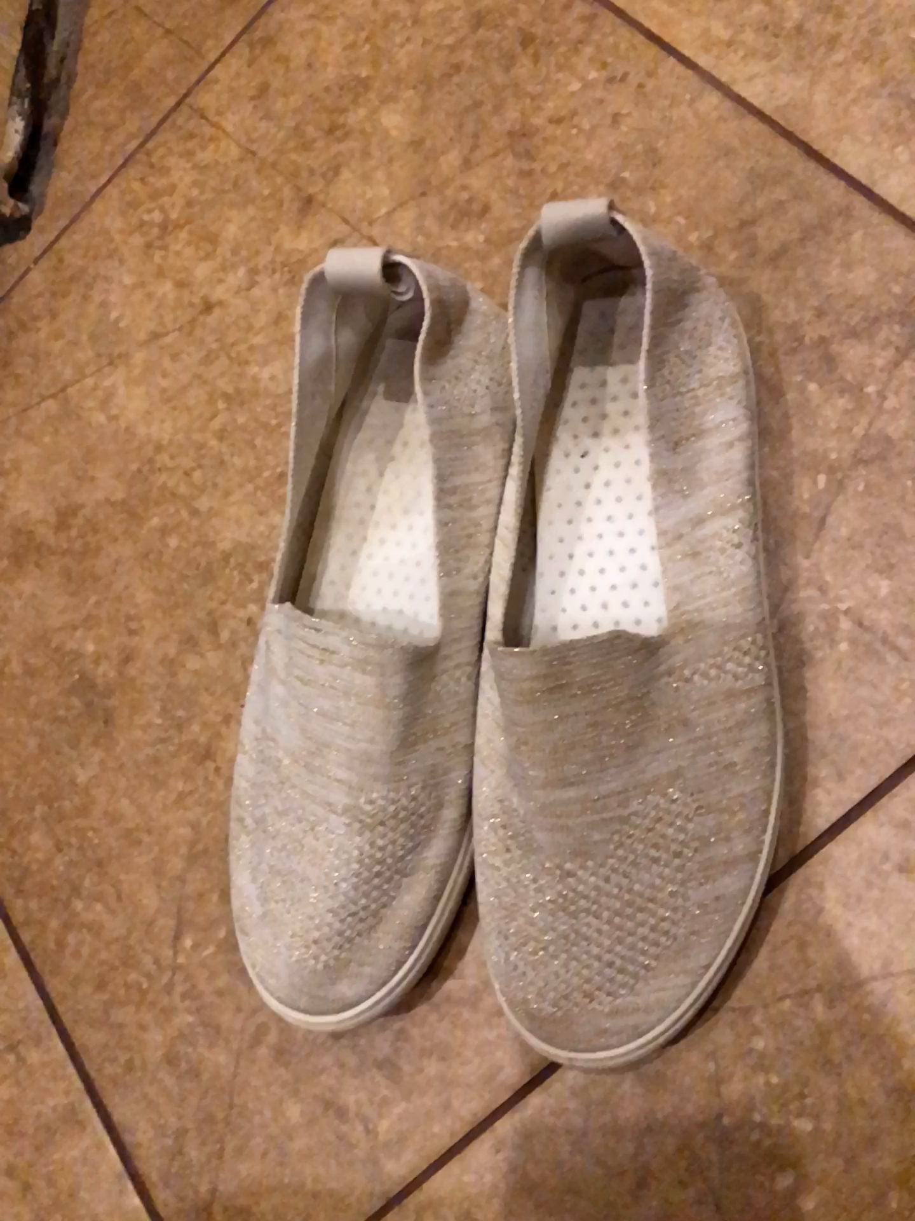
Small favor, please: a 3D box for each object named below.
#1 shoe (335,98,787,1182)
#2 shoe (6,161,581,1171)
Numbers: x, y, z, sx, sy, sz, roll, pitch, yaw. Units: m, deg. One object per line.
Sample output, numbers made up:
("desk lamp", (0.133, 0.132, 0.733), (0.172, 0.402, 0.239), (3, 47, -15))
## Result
("shoe", (0.040, 0.002, 0.295), (0.100, 0.080, 0.260), (-1, 78, 22))
("shoe", (-0.038, 0.007, 0.300), (0.090, 0.080, 0.250), (7, 81, 24))
